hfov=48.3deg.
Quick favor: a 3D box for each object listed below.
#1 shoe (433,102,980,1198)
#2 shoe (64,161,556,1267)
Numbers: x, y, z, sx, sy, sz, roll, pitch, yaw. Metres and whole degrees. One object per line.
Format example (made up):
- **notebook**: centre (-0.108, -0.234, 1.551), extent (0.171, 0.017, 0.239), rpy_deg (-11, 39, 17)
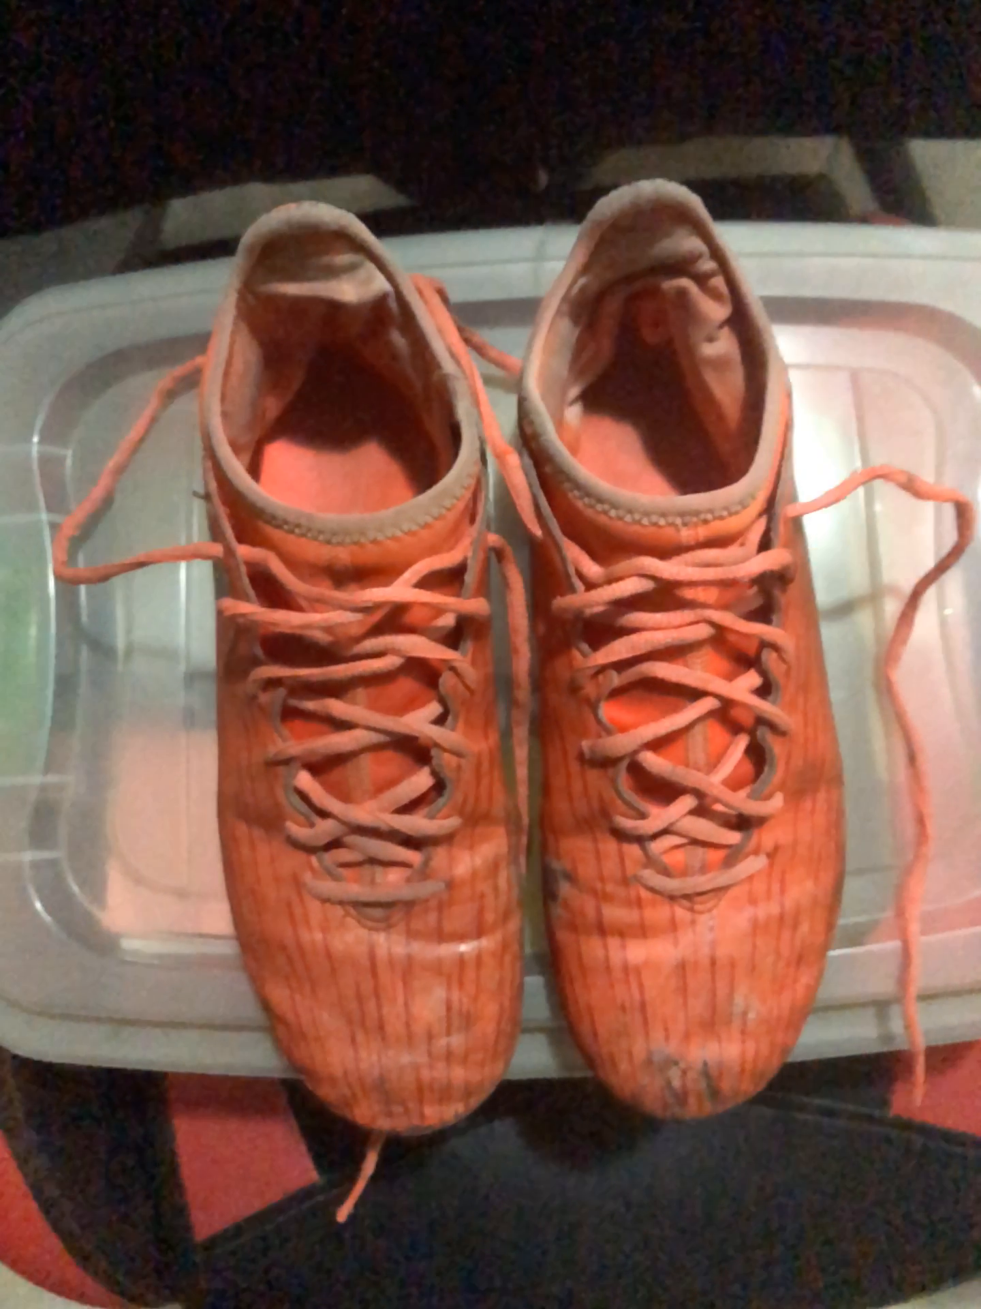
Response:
- **shoe**: centre (0.047, 0.000, 0.311), extent (0.090, 0.130, 0.240), rpy_deg (-7, 82, 1)
- **shoe**: centre (-0.042, 0.014, 0.310), extent (0.090, 0.130, 0.240), rpy_deg (-7, 82, 1)
